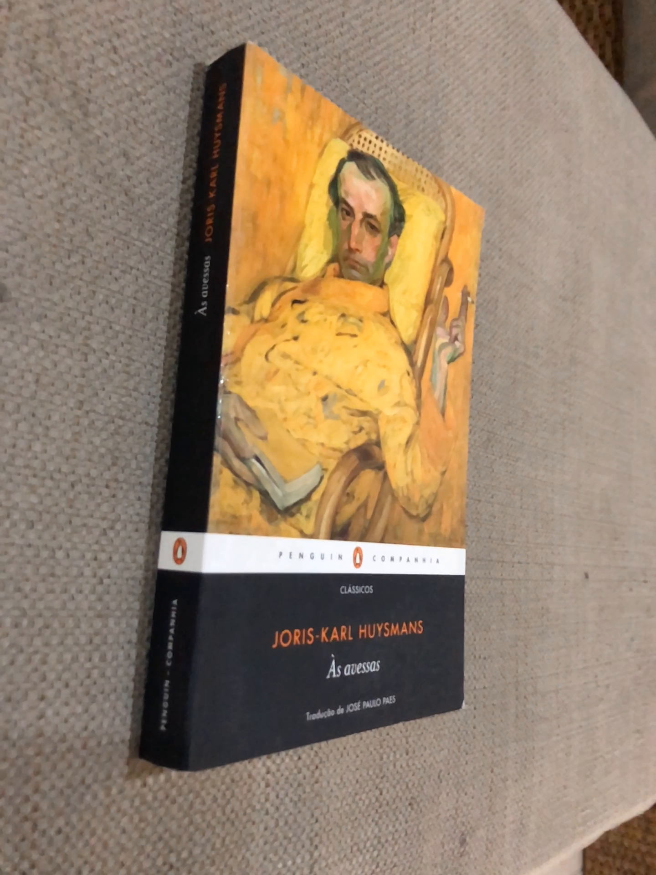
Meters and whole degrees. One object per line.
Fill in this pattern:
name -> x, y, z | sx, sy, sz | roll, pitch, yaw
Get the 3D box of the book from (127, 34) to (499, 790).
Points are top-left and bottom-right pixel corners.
book -> 0.009, -0.003, 0.240 | 0.131, 0.023, 0.195 | 13, 78, -46
